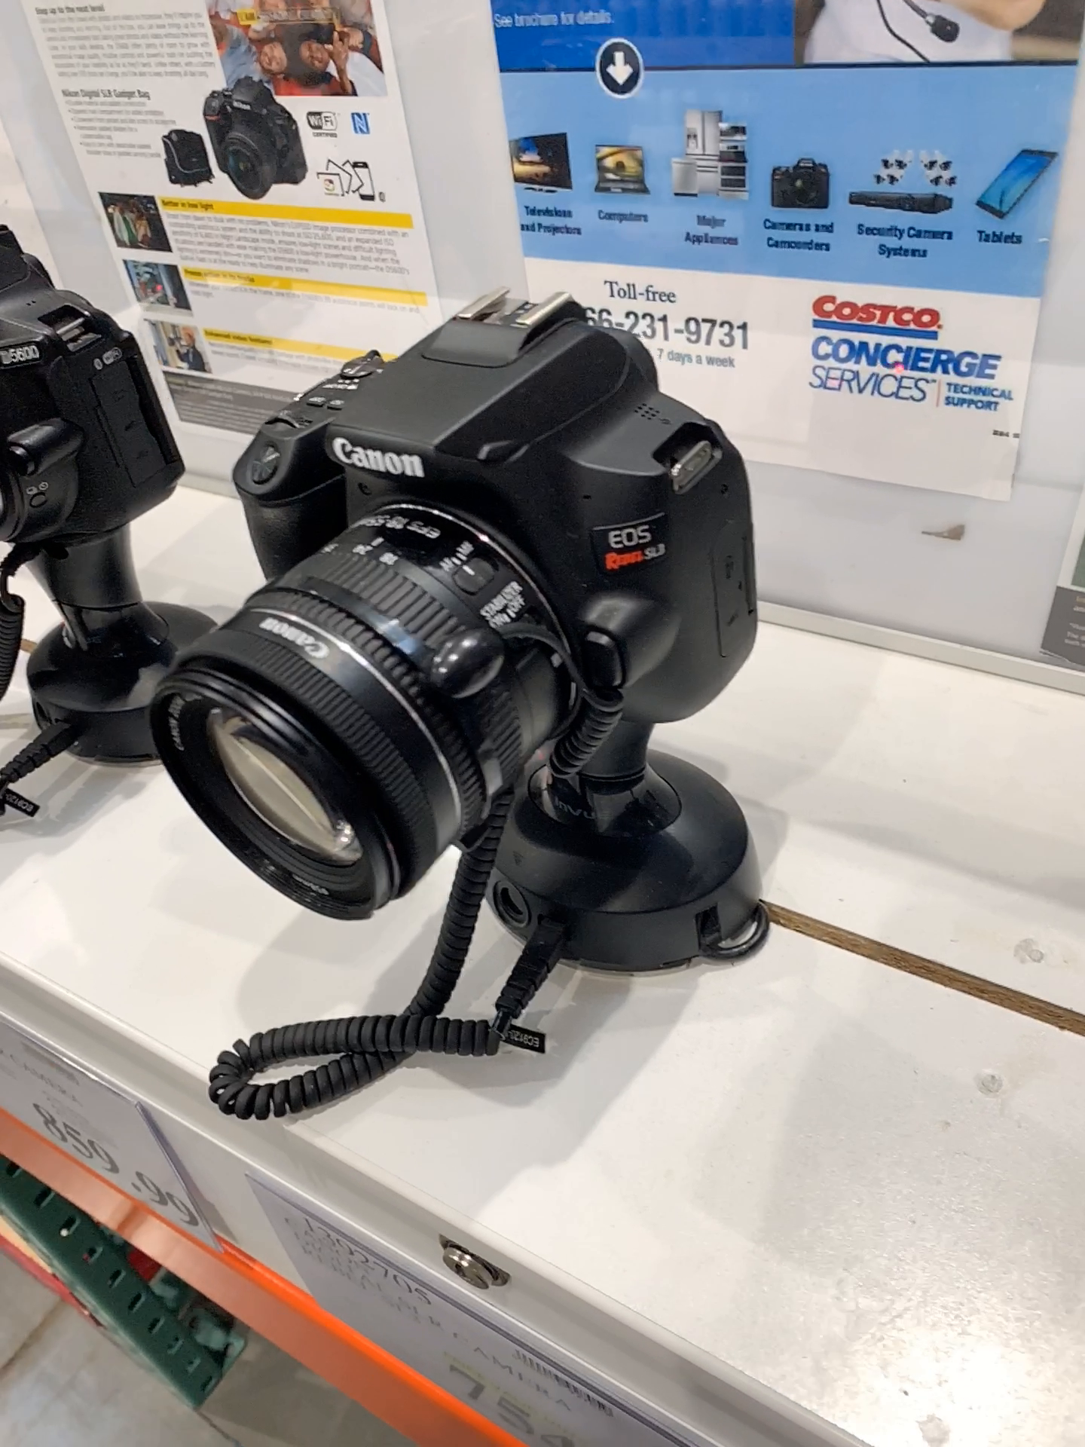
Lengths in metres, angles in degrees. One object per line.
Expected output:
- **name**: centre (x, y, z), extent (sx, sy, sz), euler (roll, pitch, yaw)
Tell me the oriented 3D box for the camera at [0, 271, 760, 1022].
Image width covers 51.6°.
- **camera**: centre (-0.035, -0.028, 0.238), extent (0.120, 0.089, 0.111), euler (16, 47, 31)
